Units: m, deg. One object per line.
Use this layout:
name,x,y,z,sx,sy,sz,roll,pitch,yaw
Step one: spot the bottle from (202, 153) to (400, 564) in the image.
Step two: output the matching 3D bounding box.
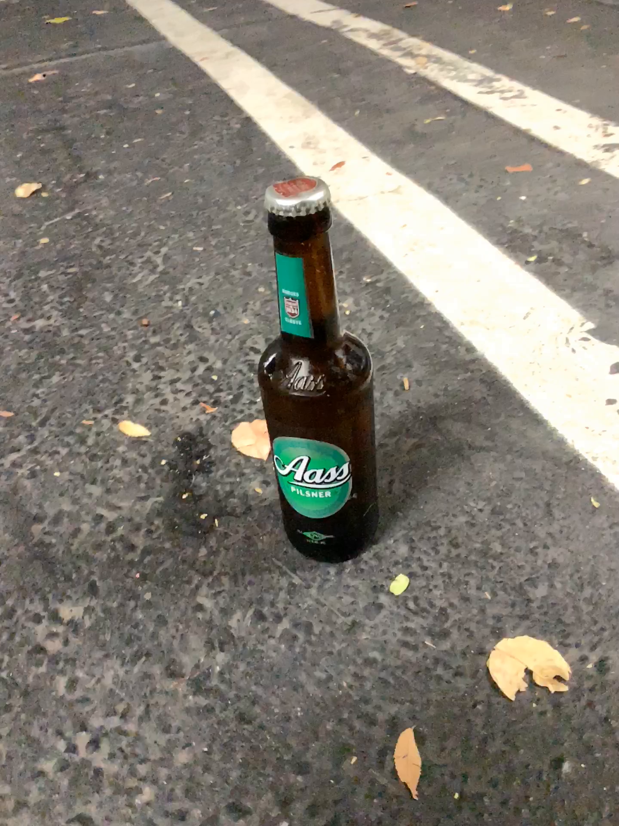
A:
bottle,0.006,-0.016,0.356,0.070,0.210,0.070,-3,43,3
